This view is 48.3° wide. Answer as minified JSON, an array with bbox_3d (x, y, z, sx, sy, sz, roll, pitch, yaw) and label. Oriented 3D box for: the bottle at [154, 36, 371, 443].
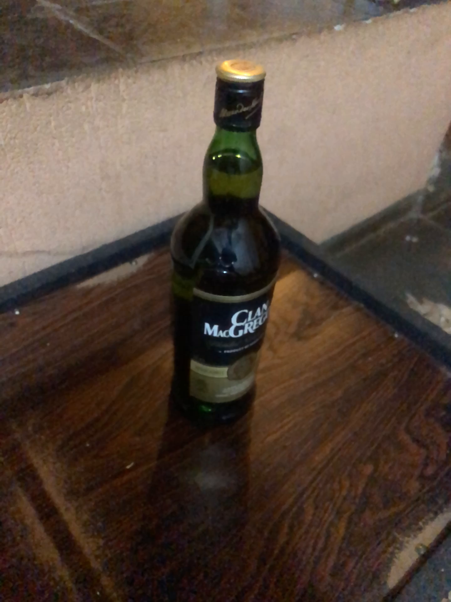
[{"bbox_3d":[0.008,-0.019,0.386,0.090,0.308,0.080,-22,52,-25],"label":"bottle"}]
